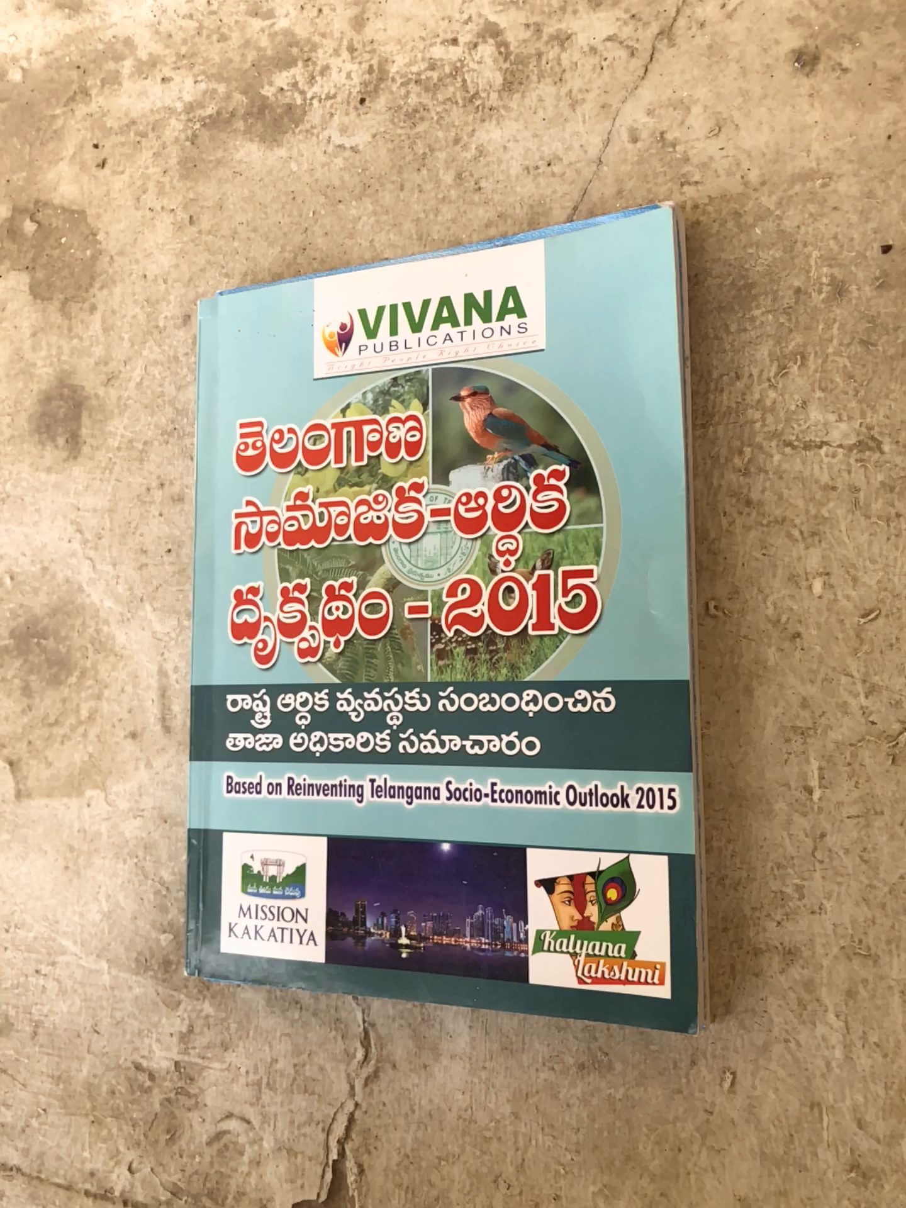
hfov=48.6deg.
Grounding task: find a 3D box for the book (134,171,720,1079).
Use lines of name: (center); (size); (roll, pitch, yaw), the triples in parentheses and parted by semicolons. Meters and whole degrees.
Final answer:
book: (-0.015, 0.005, 0.349); (0.200, 0.030, 0.270); (-2, 84, 22)
